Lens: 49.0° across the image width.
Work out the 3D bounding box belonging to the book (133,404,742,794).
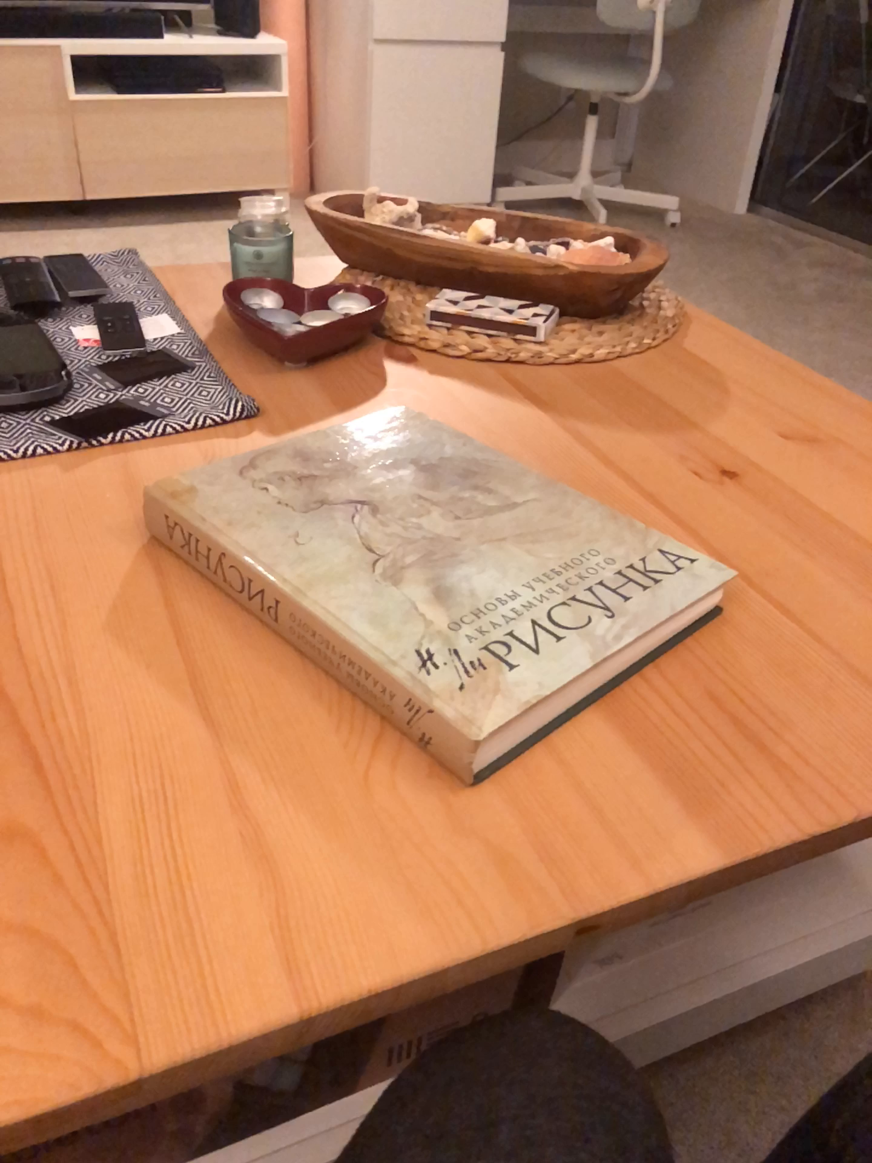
[{"bbox_3d":[-0.003,-0.017,0.547,0.215,0.030,0.272,-26,44,-38],"label":"book"}]
